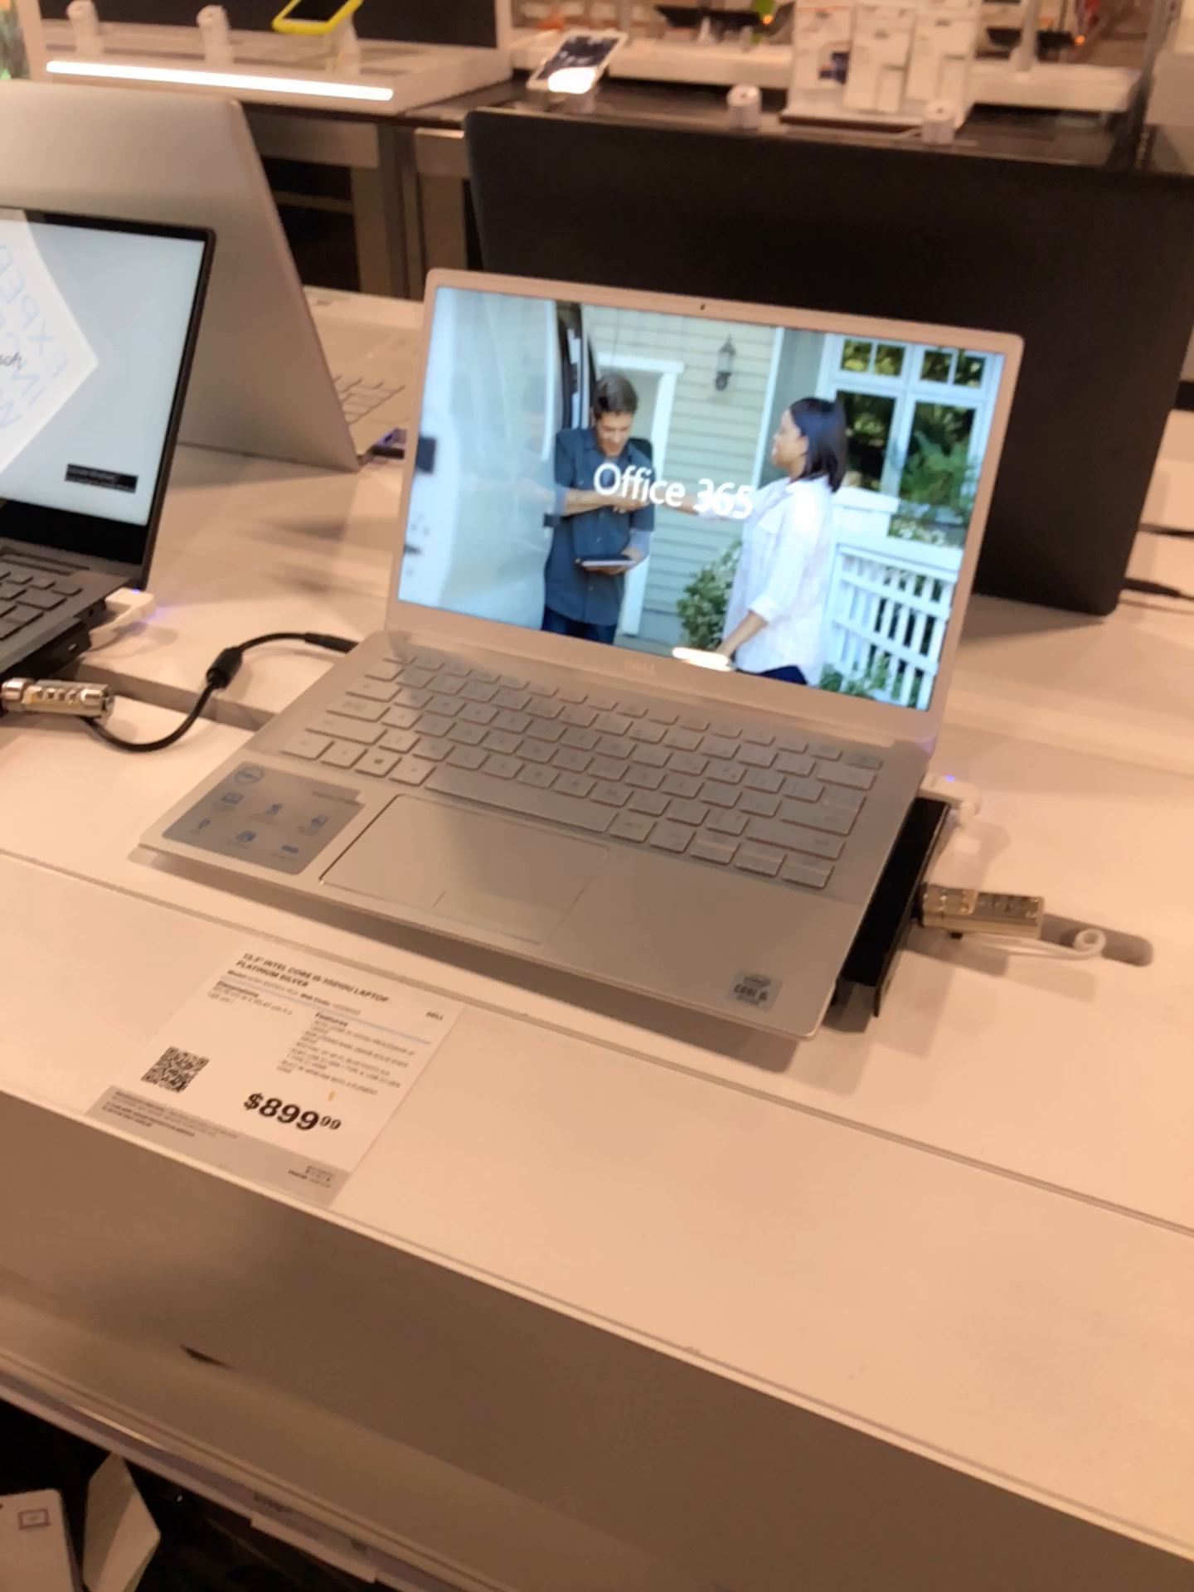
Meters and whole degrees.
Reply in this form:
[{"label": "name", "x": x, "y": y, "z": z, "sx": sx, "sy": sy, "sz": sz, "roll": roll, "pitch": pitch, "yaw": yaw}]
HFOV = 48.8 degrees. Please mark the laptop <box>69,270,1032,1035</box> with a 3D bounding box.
[{"label": "laptop", "x": -0.002, "y": -0.096, "z": 0.581, "sx": 0.293, "sy": 0.165, "sz": 0.294, "roll": 14, "pitch": 39, "yaw": 21}]
